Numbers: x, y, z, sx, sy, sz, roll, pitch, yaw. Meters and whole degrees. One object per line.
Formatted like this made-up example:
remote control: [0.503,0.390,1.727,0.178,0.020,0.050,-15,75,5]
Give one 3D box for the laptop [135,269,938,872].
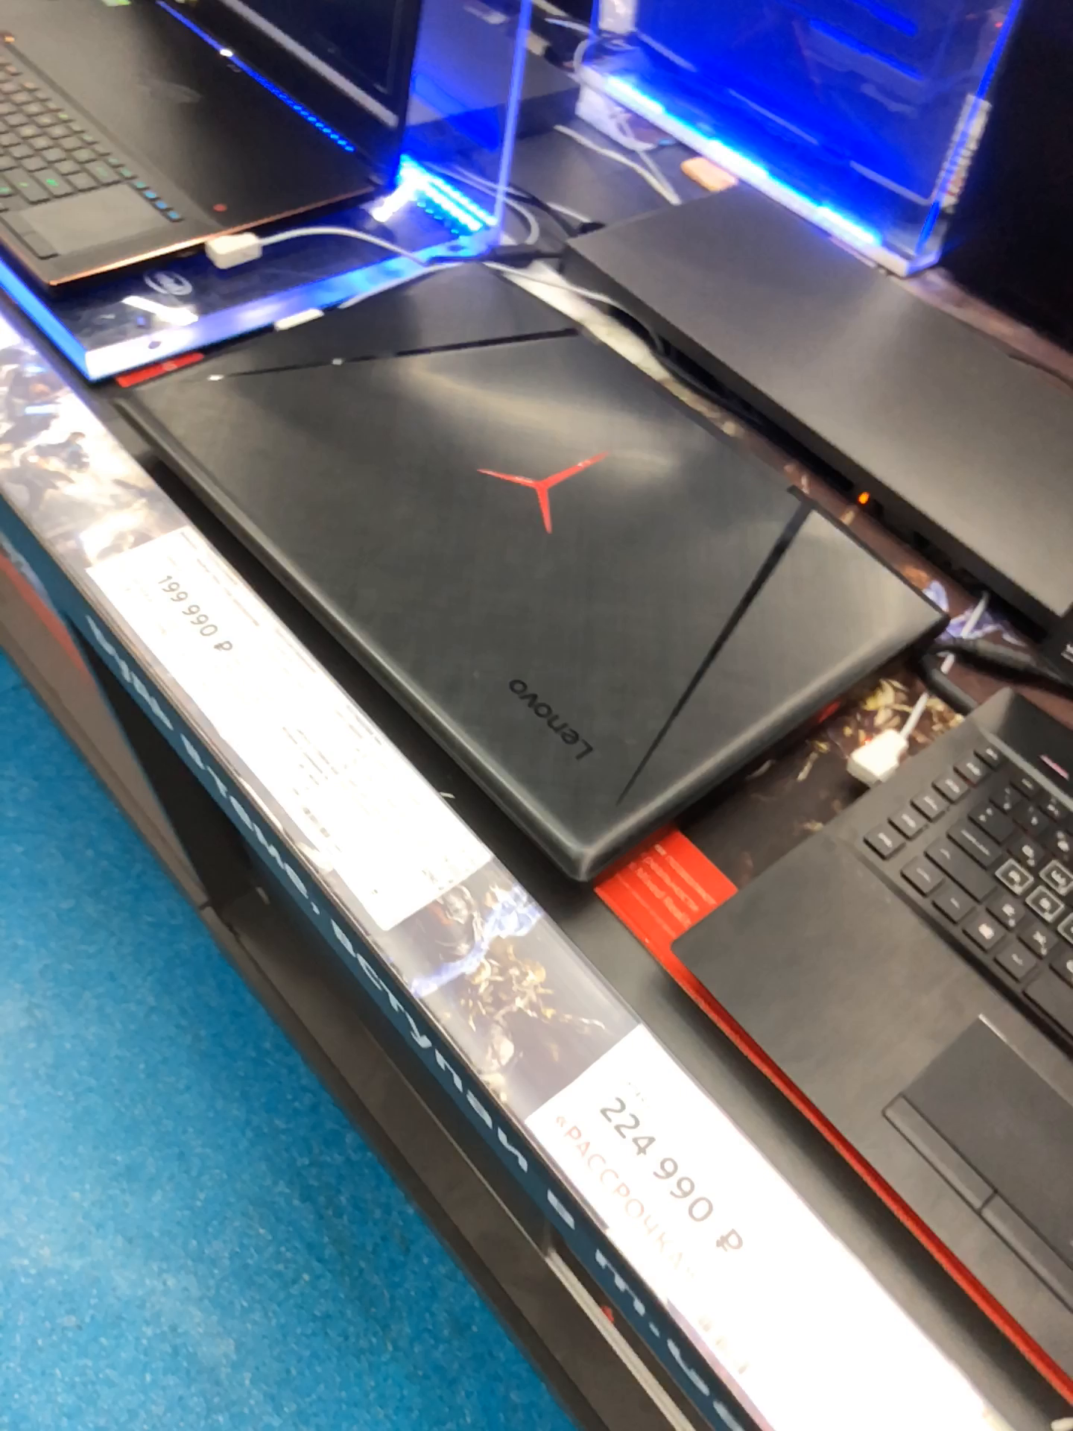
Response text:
laptop: [-0.005,-0.120,0.684,0.270,0.005,0.400,-32,63,-29]
